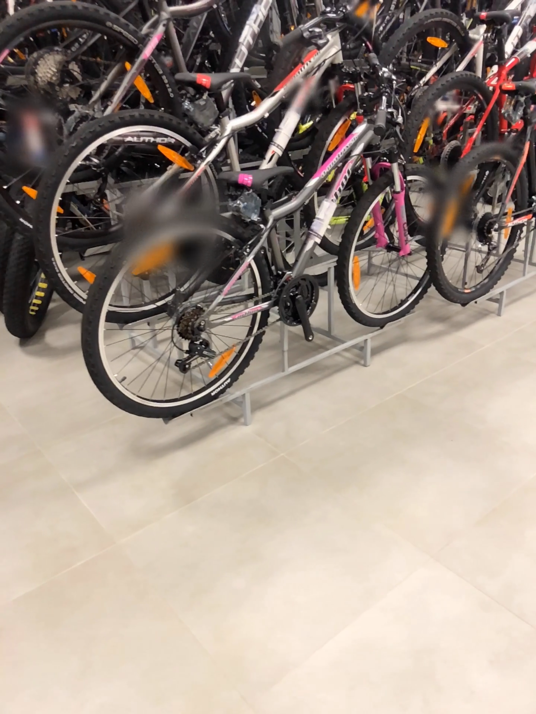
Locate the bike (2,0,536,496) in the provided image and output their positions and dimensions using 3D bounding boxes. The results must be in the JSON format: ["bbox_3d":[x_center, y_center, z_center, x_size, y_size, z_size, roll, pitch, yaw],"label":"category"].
[{"bbox_3d":[0.118,-0.513,1.911,1.609,0.990,0.600,-25,34,-32],"label":"bike"}]
